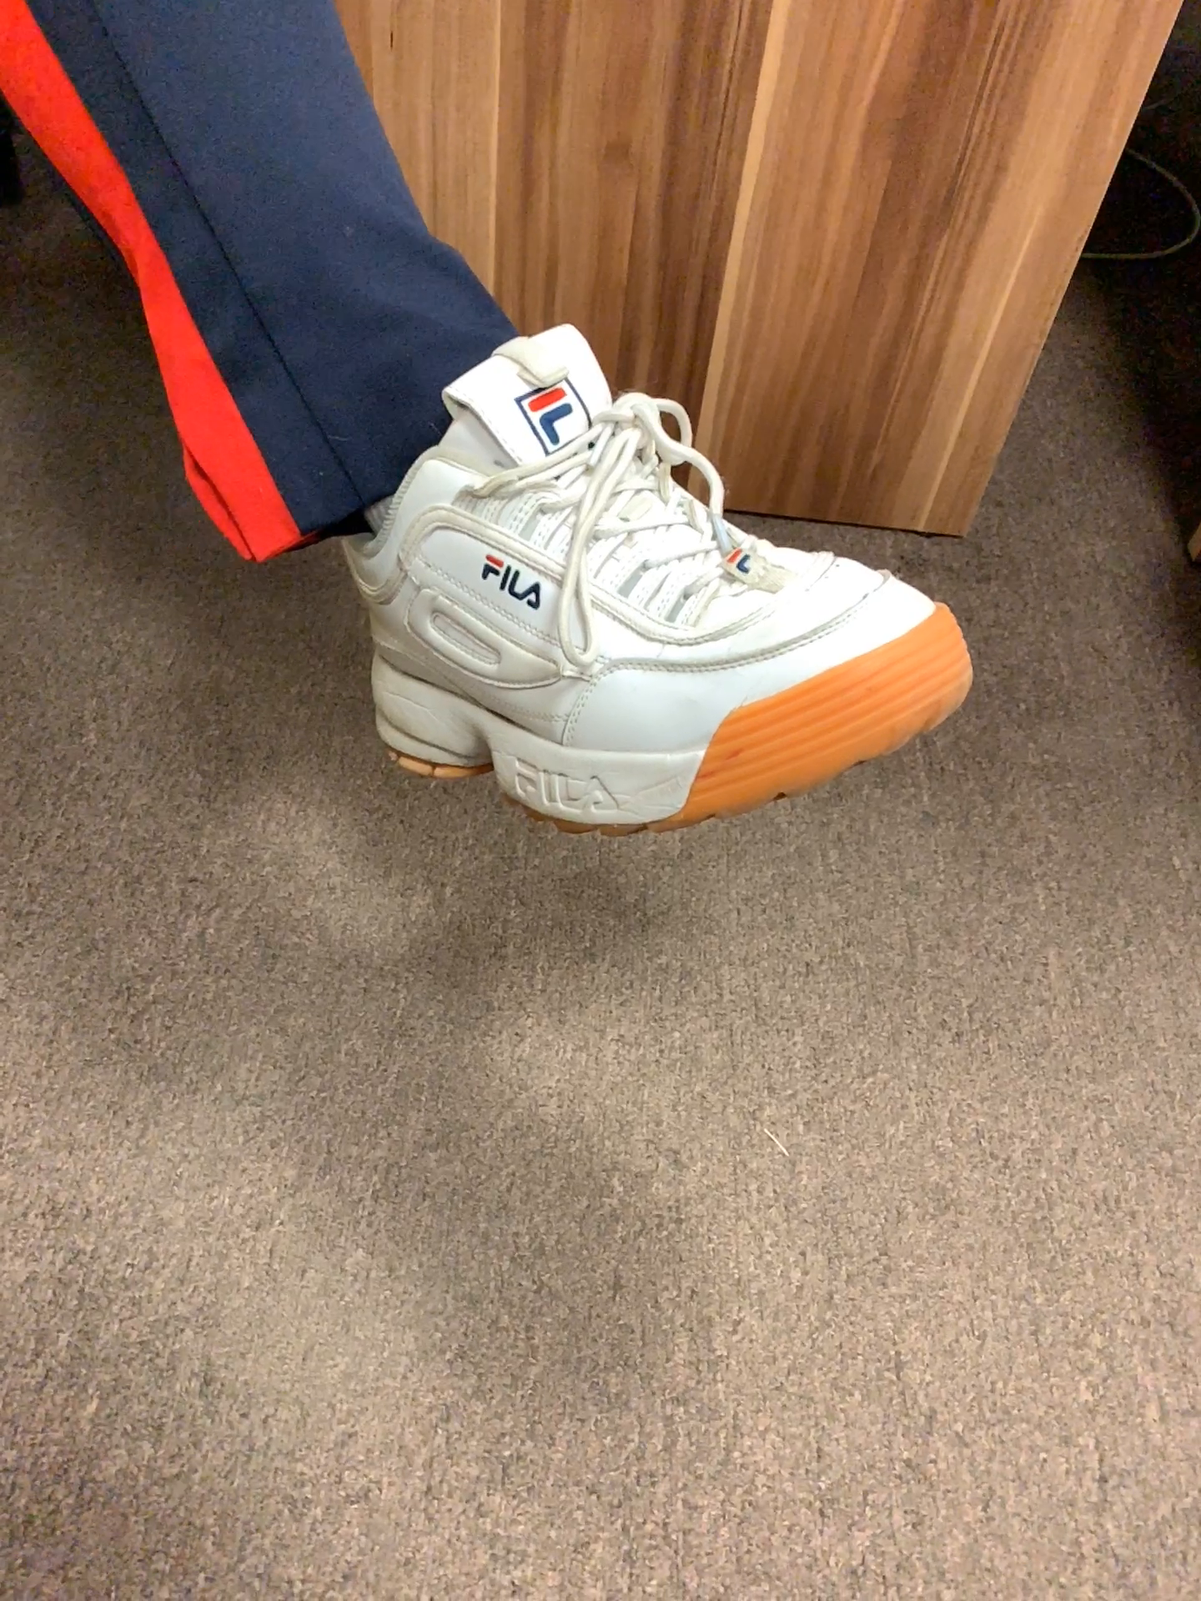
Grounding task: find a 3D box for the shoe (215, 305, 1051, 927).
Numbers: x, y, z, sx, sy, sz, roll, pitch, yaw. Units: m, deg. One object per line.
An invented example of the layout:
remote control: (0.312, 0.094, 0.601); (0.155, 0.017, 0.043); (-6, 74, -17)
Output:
shoe: (0.005, -0.082, 0.409); (0.230, 0.130, 0.130); (21, 39, 40)
